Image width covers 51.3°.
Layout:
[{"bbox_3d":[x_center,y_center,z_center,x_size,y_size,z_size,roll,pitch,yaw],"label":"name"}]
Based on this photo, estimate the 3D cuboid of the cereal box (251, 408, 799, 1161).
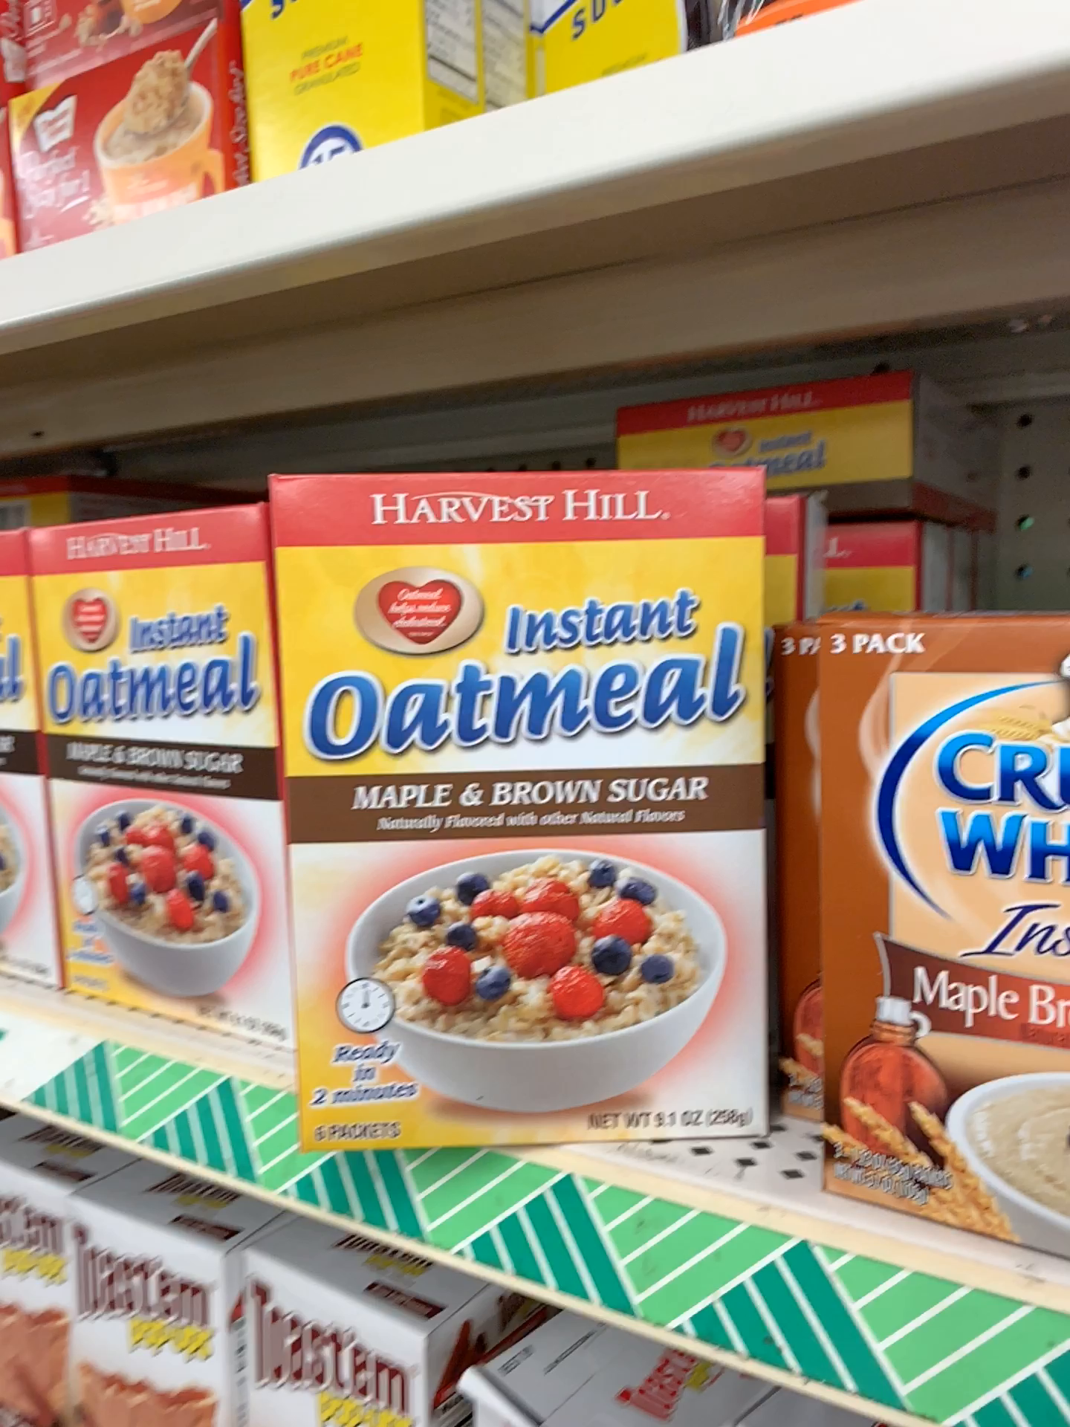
[{"bbox_3d":[-0.001,0.015,0.295,0.130,0.180,0.050,-2,5,-6],"label":"cereal box"}]
